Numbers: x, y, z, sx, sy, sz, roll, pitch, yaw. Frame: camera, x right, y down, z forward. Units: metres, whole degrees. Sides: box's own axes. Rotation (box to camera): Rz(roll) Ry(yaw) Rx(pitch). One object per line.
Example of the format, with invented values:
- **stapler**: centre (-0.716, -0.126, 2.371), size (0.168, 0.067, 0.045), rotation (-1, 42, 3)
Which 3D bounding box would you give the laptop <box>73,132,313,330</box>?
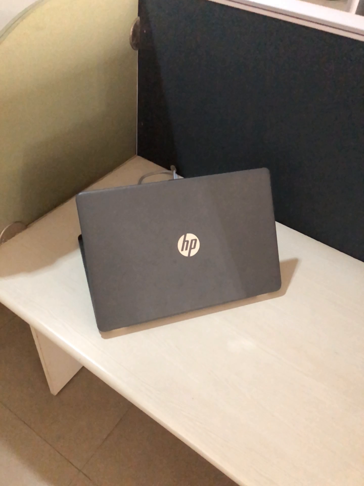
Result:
- **laptop**: centre (0.001, -0.038, 0.774), size (0.361, 0.204, 0.248), rotation (-11, 48, -16)
